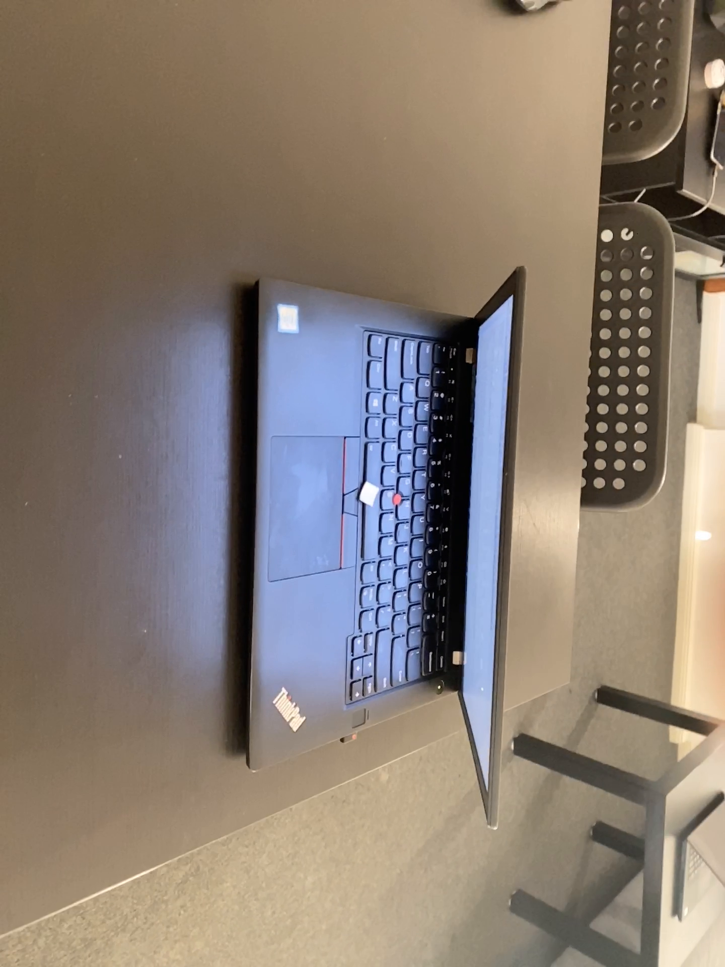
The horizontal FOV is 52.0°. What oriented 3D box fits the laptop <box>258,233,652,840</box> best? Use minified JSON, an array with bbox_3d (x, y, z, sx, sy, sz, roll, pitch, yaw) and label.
[{"bbox_3d":[0.063,0.020,0.484,0.217,0.138,0.299,-5,99,-45],"label":"laptop"}]
